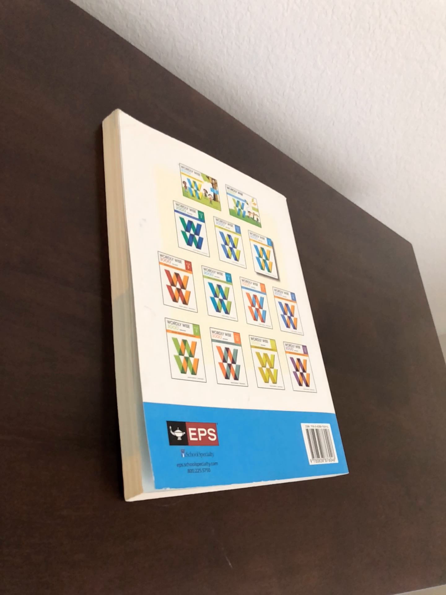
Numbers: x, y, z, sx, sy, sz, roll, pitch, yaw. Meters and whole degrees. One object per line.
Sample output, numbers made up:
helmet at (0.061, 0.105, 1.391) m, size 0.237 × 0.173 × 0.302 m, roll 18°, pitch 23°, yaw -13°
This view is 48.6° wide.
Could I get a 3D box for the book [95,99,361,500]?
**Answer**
book at (0.007, 0.004, 0.393) m, size 0.221 × 0.031 × 0.271 m, roll 15°, pitch 58°, yaw -42°
